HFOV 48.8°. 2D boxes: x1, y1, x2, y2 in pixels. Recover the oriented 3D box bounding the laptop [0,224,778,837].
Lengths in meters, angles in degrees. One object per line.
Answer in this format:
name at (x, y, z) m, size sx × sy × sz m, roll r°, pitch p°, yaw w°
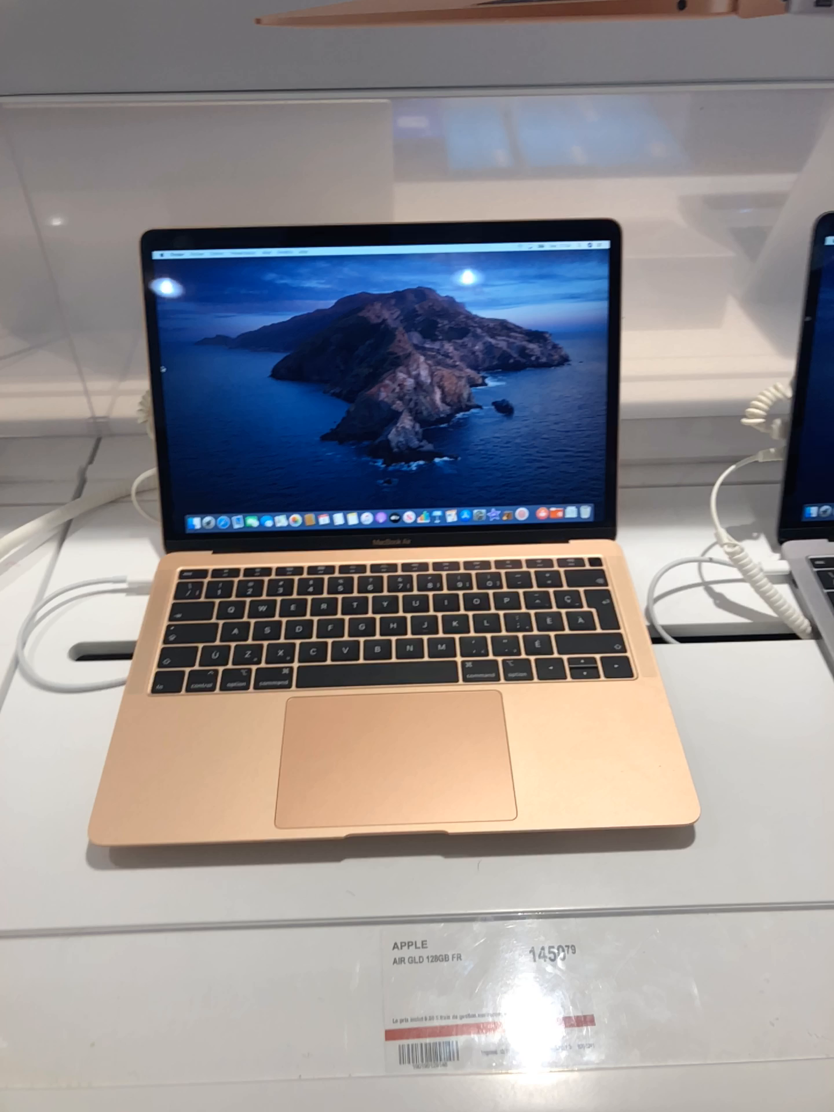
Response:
laptop at (-0.016, -0.033, 0.507) m, size 0.291 × 0.170 × 0.305 m, roll -2°, pitch 43°, yaw -1°
